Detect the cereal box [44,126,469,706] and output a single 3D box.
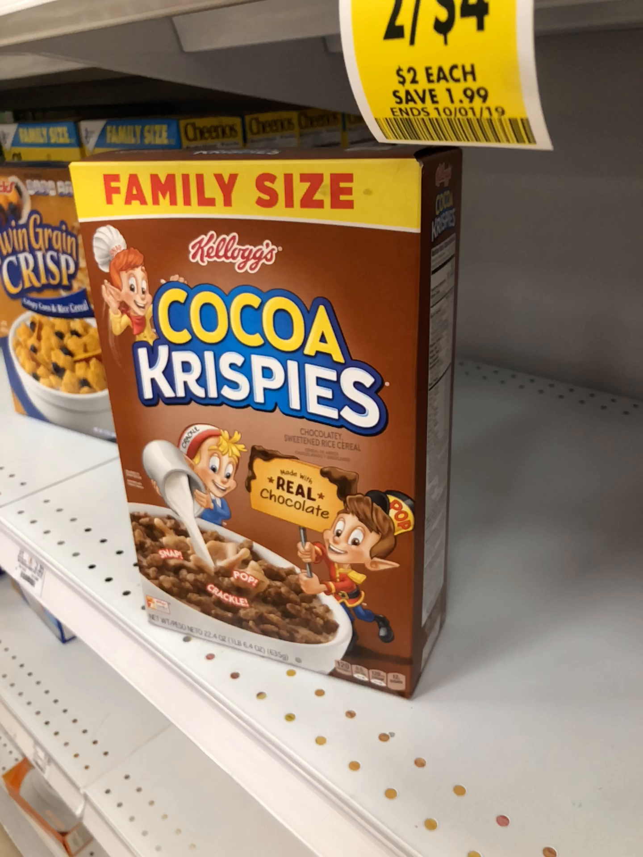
[{"bbox_3d":[-0.024,-0.005,0.416,0.200,0.299,0.070,8,28,25],"label":"cereal box"}]
